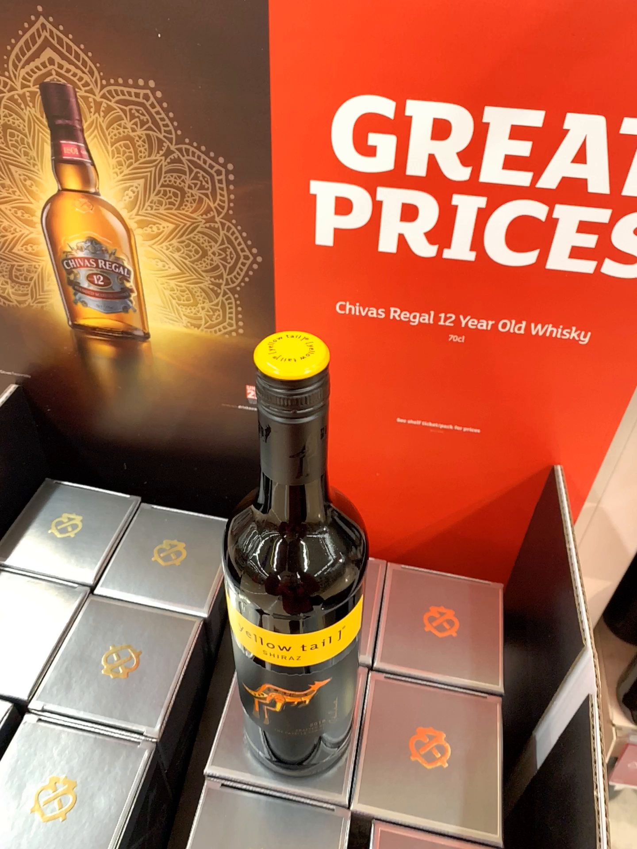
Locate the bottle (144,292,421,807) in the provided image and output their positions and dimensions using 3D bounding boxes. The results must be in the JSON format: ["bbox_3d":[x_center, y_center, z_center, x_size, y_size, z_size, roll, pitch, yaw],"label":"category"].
[{"bbox_3d":[-0.012,0.092,0.337,0.086,0.307,0.082,1,42,-1],"label":"bottle"}]
